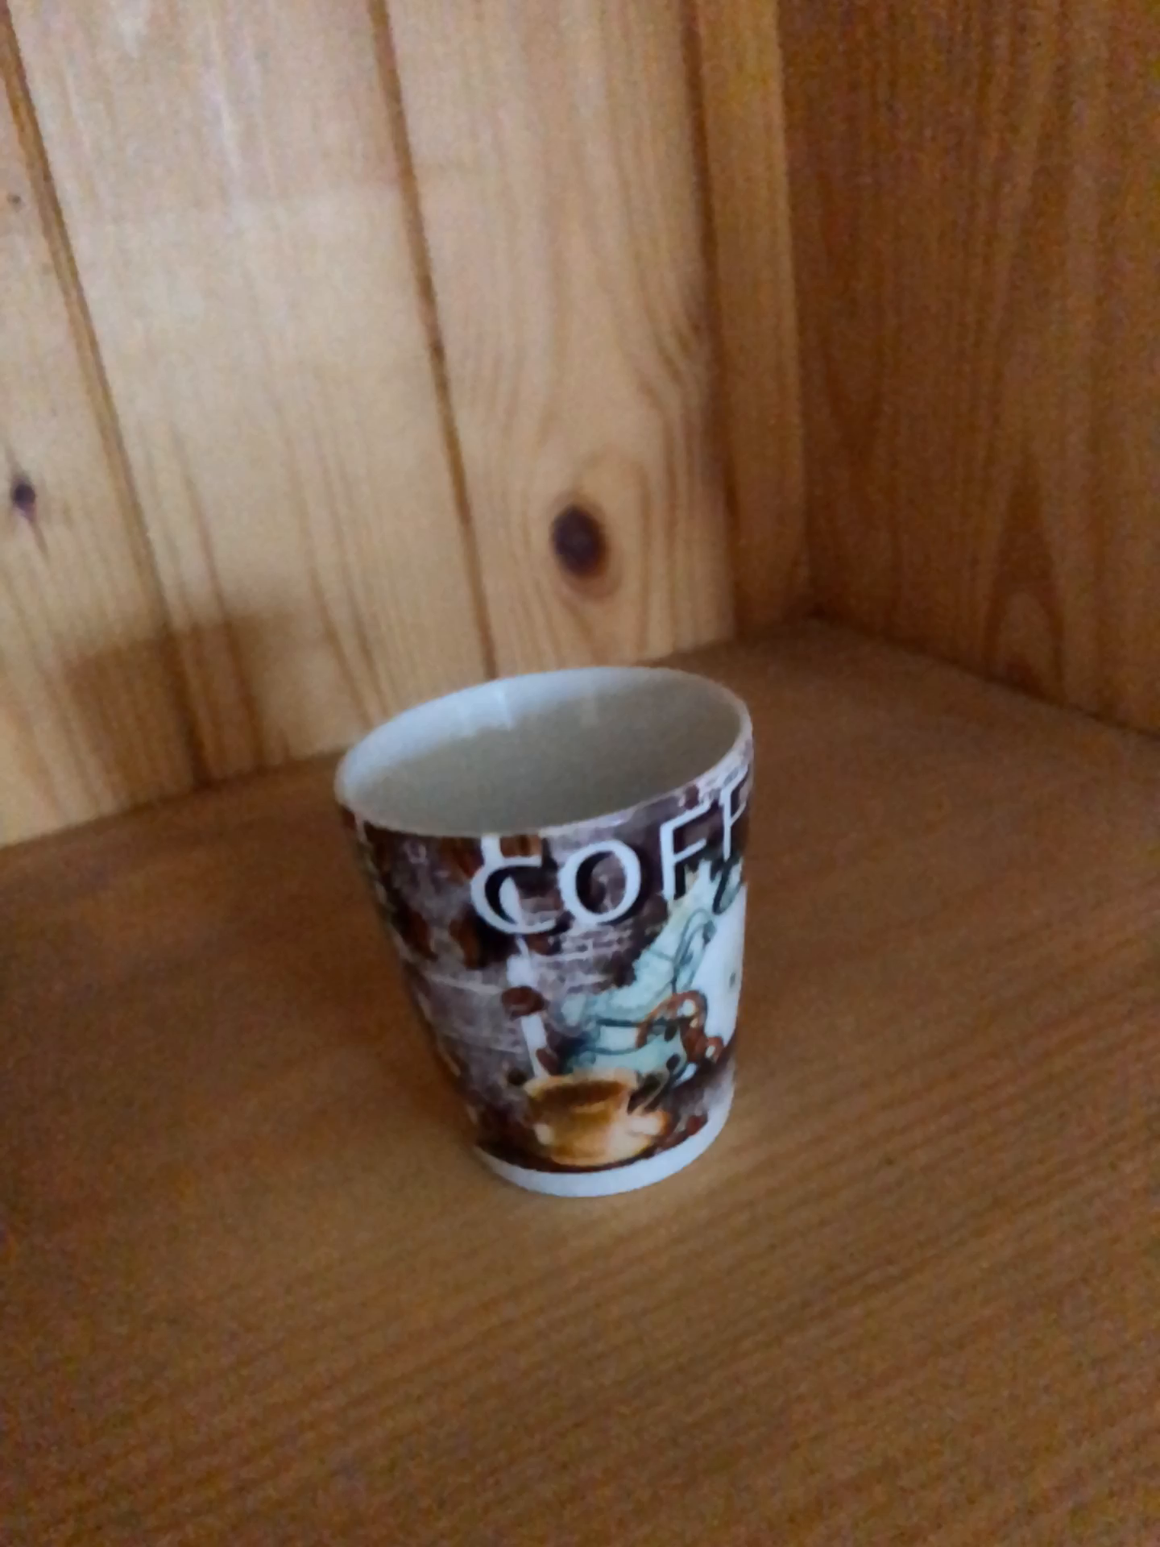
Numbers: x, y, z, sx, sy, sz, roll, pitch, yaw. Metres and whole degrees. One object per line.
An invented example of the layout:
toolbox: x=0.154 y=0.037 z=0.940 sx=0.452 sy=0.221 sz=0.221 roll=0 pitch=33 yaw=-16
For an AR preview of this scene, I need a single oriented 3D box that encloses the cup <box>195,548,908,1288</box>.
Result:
cup: x=0.000 y=0.013 z=0.198 sx=0.080 sy=0.070 sz=0.060 roll=-27 pitch=30 yaw=-38
